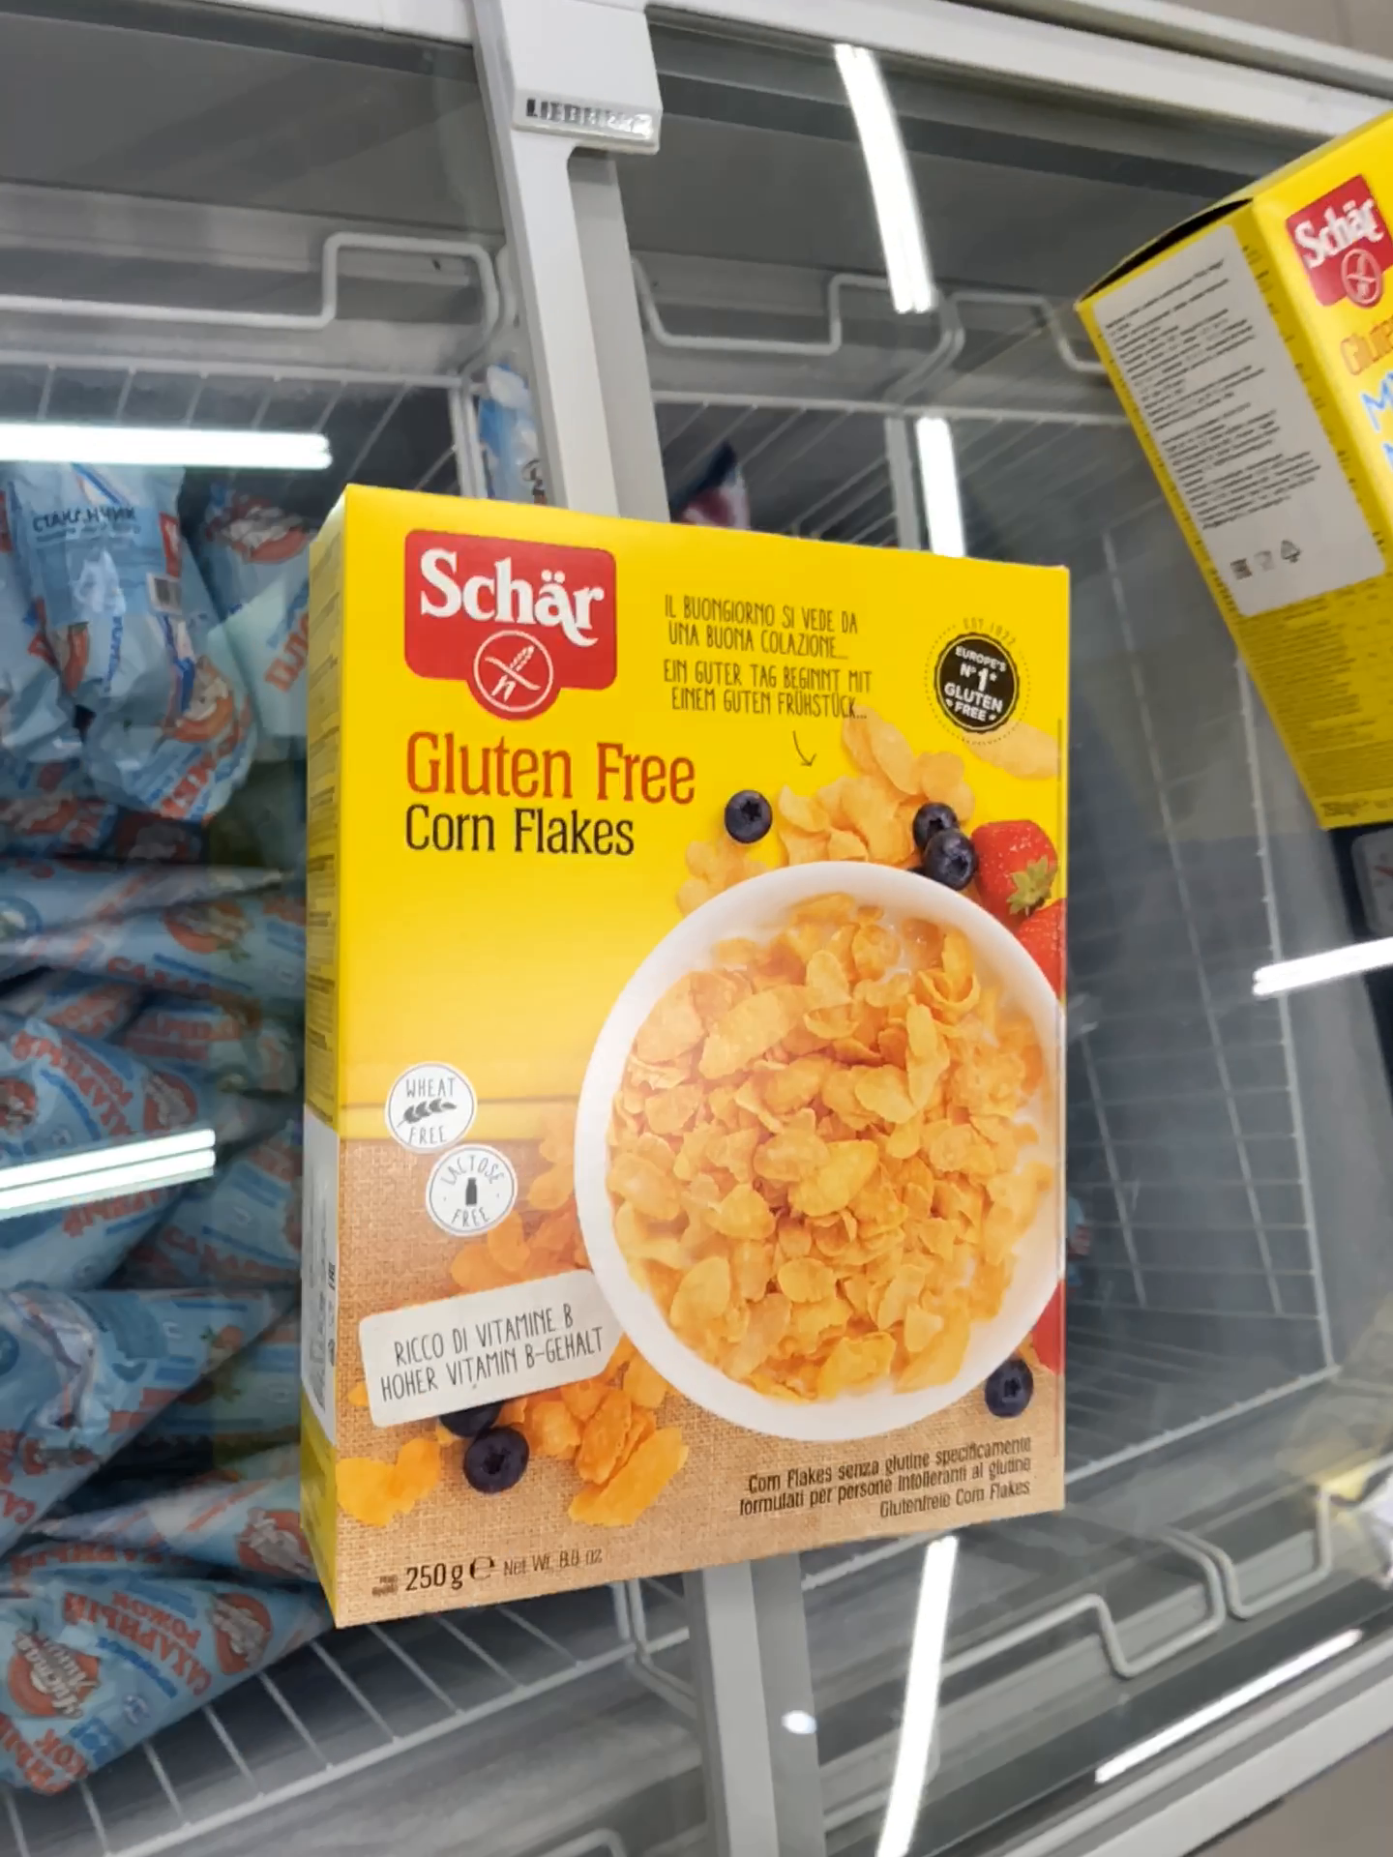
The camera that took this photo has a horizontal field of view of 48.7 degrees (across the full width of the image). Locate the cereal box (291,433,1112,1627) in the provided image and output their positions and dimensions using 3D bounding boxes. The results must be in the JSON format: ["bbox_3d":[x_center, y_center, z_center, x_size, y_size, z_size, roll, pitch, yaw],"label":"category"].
[{"bbox_3d":[0.003,0.024,0.412,0.201,0.080,0.260,1,89,-23],"label":"cereal box"}]
